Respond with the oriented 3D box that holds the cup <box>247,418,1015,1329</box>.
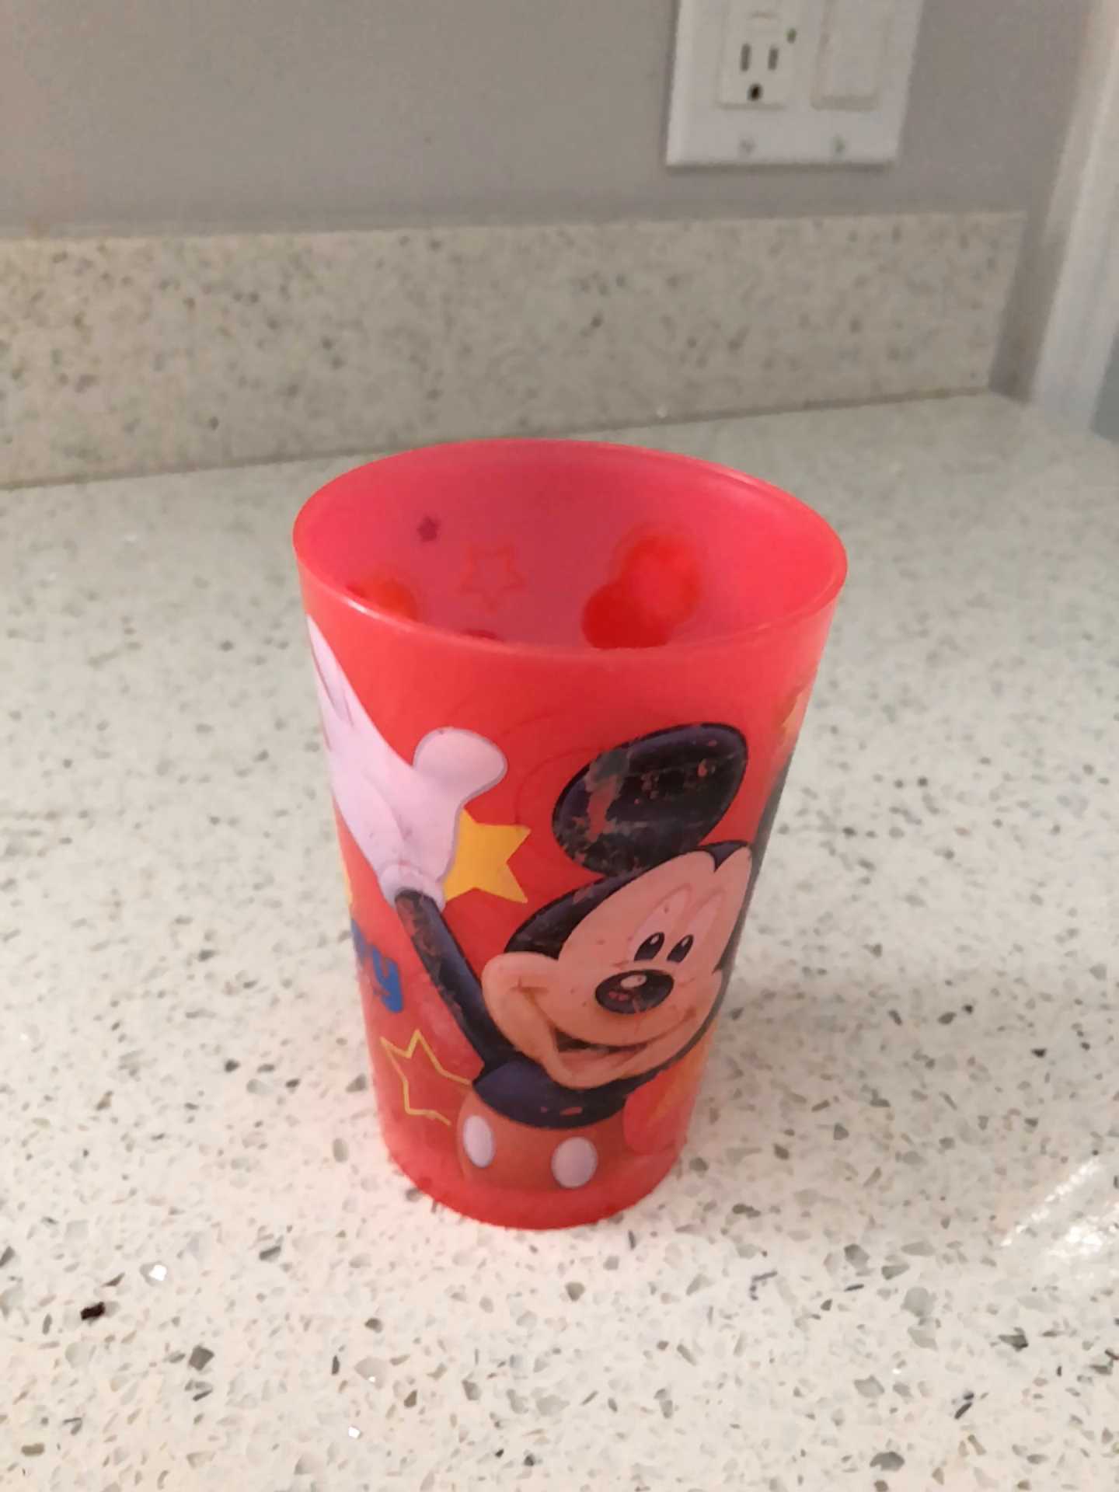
[{"bbox_3d":[0.002,0.013,0.183,0.073,0.096,0.071,3,32,-2],"label":"cup"}]
